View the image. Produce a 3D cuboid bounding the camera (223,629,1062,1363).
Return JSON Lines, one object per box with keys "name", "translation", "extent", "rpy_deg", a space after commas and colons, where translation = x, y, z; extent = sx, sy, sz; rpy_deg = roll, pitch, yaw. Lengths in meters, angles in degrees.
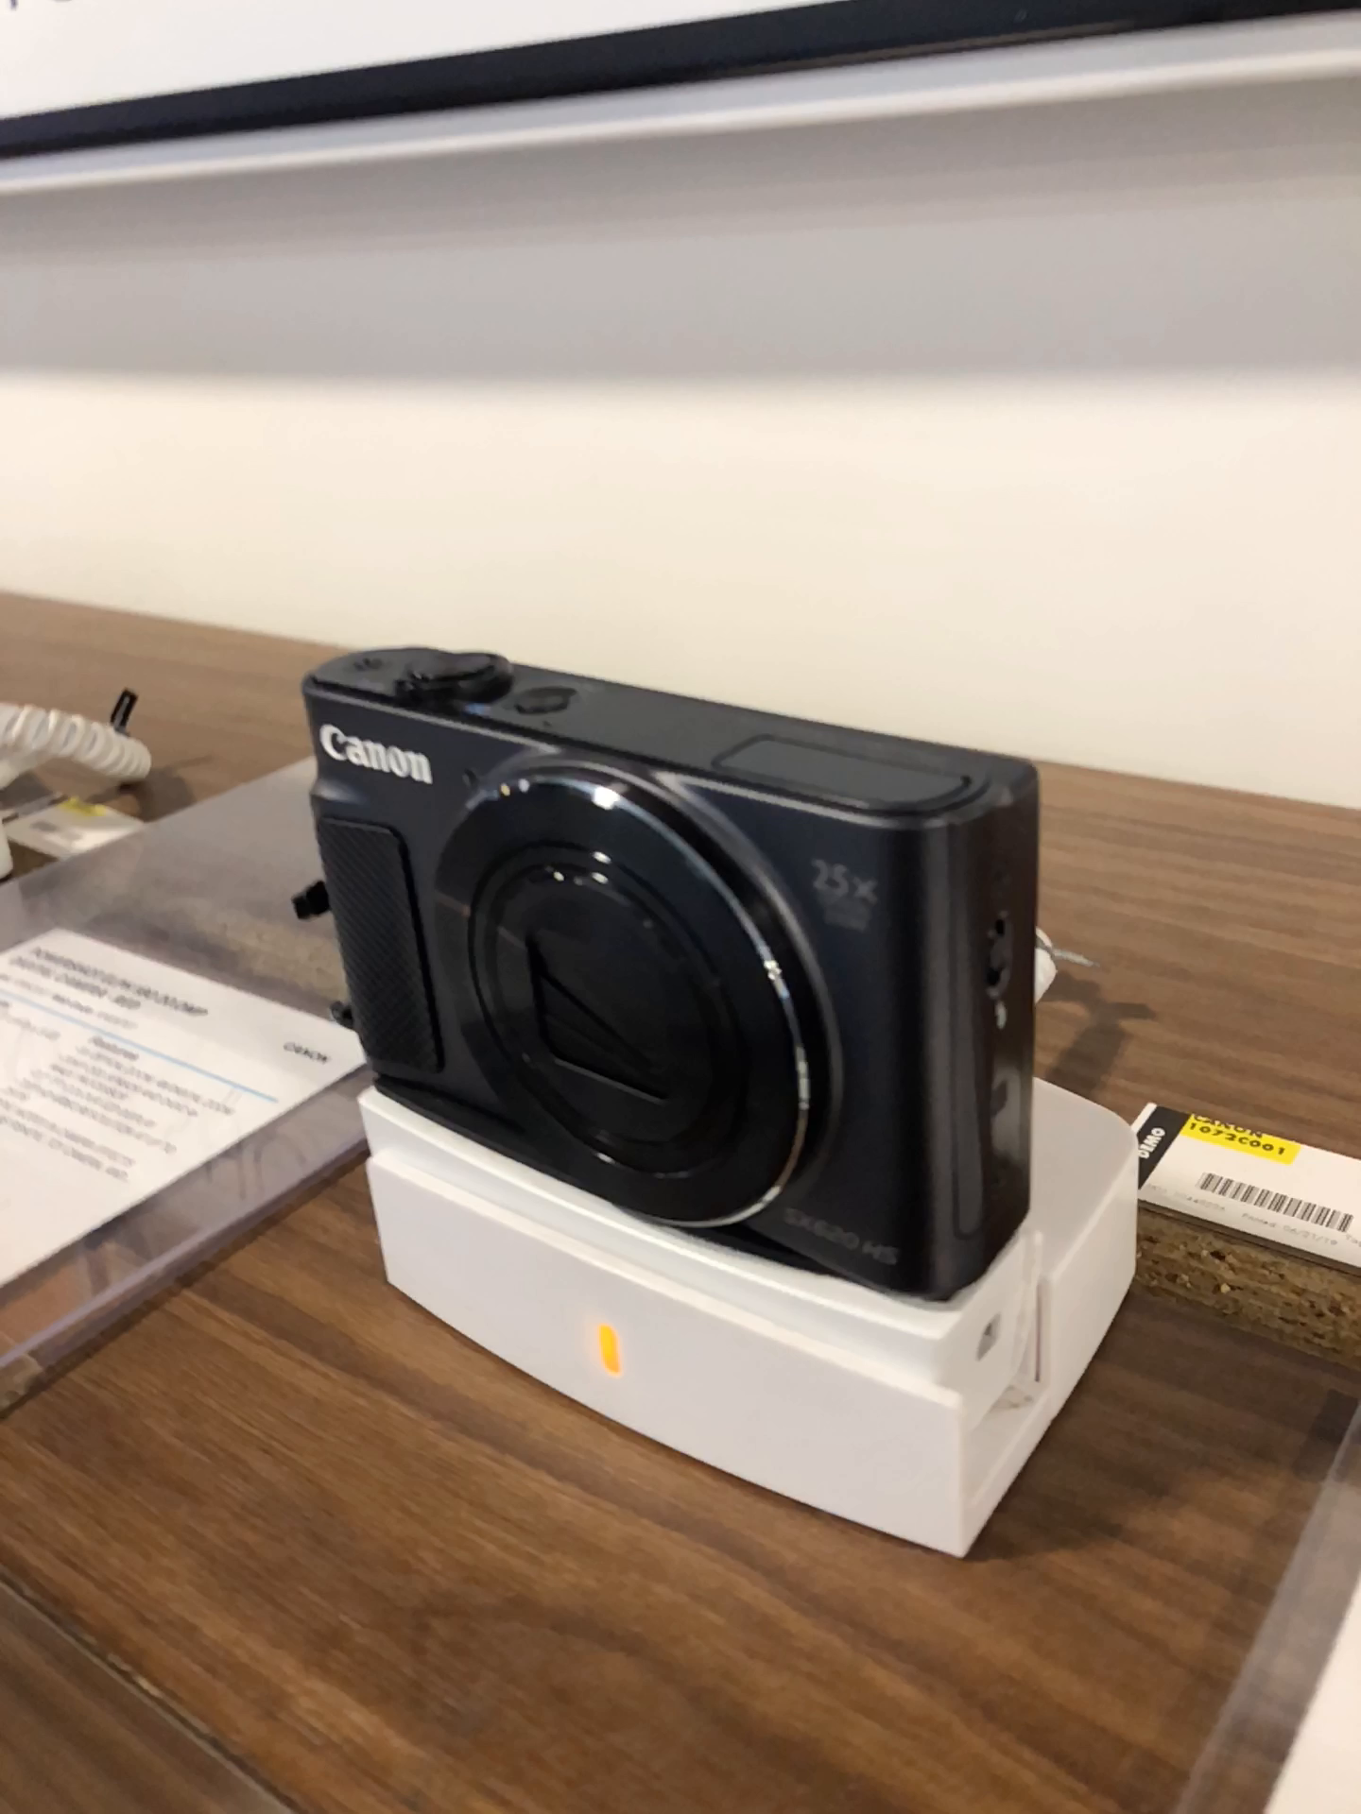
{"name": "camera", "translation": [-0.008, 0.004, 0.185], "extent": [0.100, 0.060, 0.030], "rpy_deg": [15, 29, 36]}
